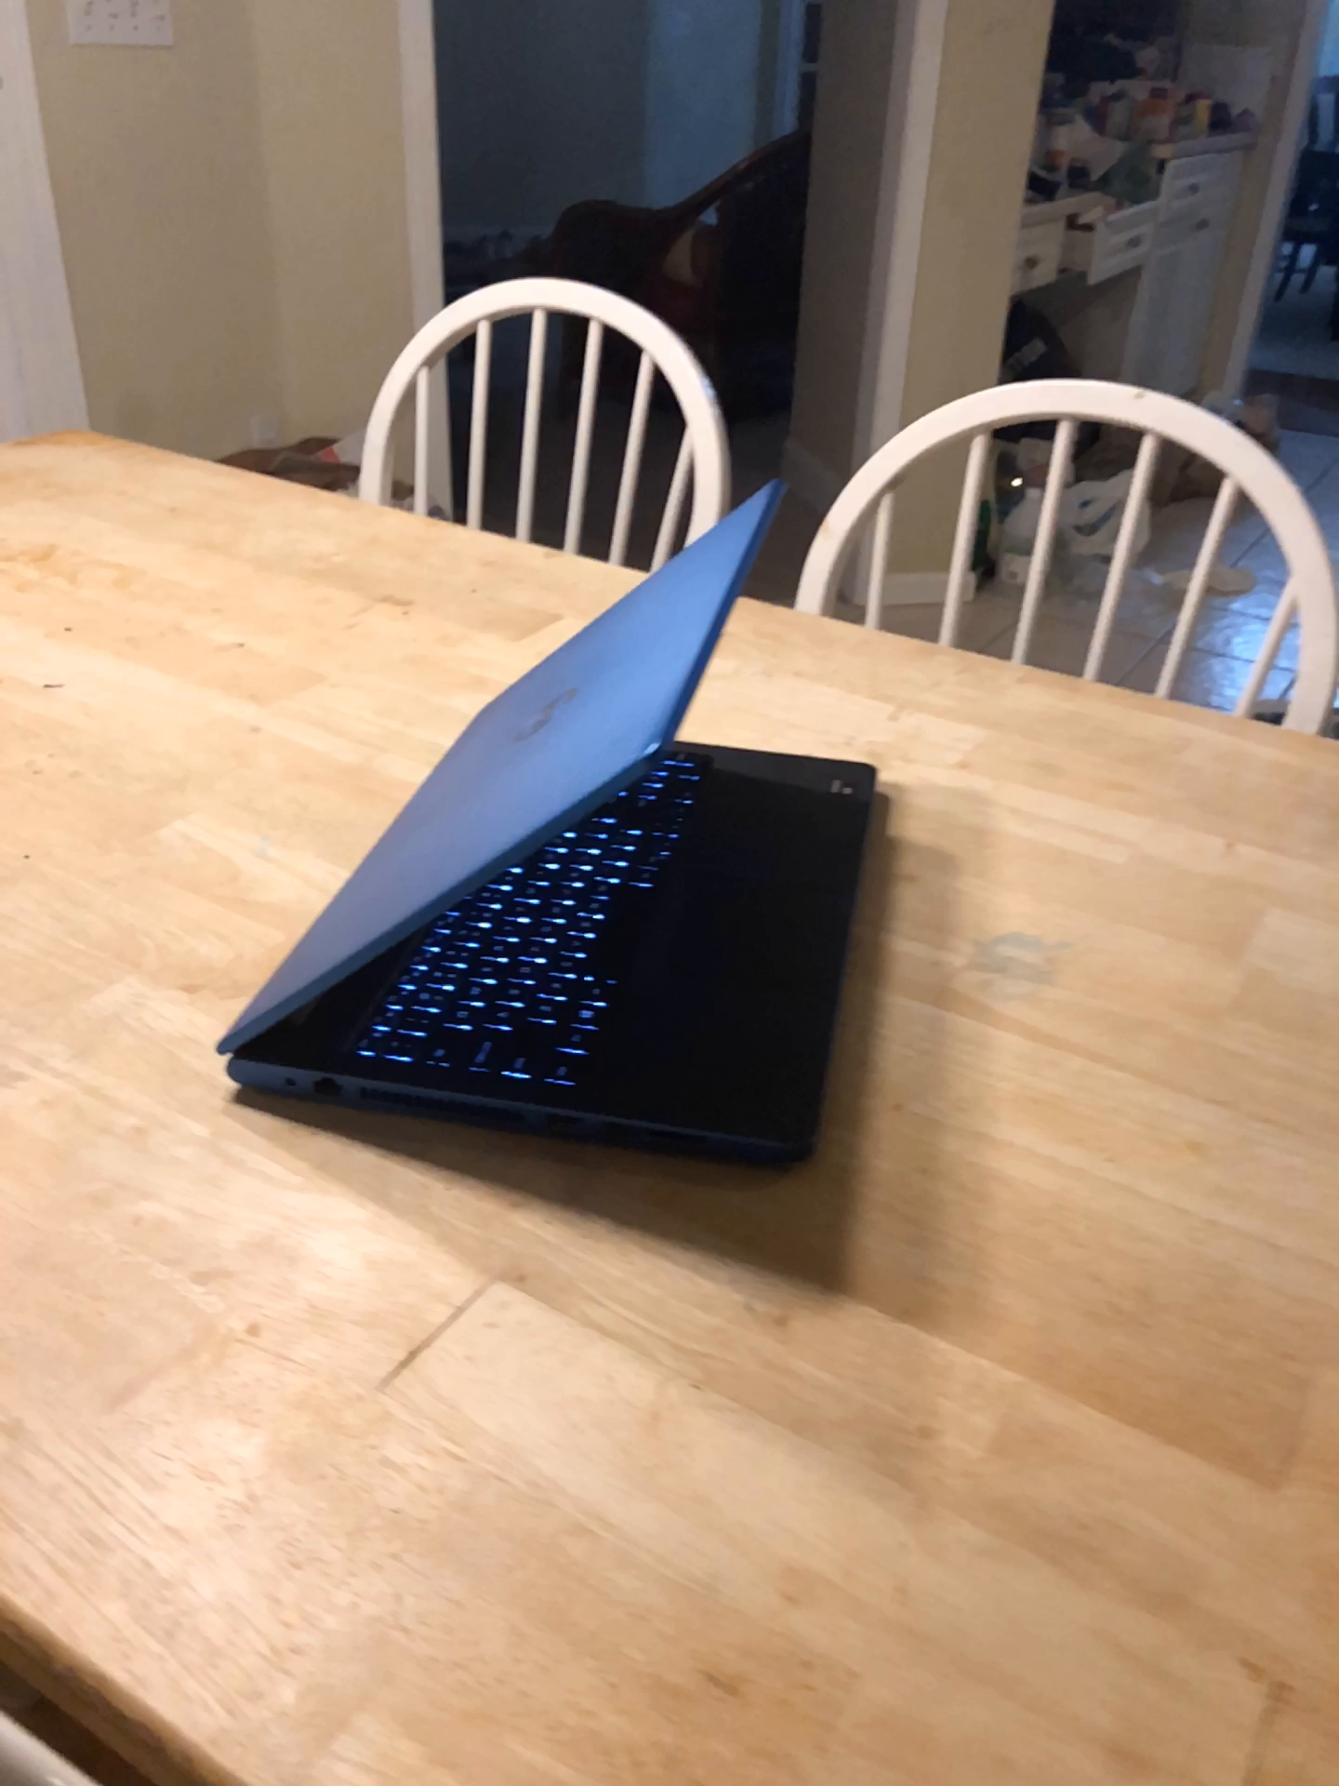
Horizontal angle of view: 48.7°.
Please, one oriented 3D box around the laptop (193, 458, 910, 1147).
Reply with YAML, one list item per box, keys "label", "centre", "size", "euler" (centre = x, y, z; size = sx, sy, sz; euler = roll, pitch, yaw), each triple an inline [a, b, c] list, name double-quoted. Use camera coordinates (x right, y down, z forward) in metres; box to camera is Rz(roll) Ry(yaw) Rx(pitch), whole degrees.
- label: "laptop"
  centre: [-0.023, -0.074, 0.719]
  size: [0.248, 0.160, 0.363]
  euler: [8, 31, 7]
